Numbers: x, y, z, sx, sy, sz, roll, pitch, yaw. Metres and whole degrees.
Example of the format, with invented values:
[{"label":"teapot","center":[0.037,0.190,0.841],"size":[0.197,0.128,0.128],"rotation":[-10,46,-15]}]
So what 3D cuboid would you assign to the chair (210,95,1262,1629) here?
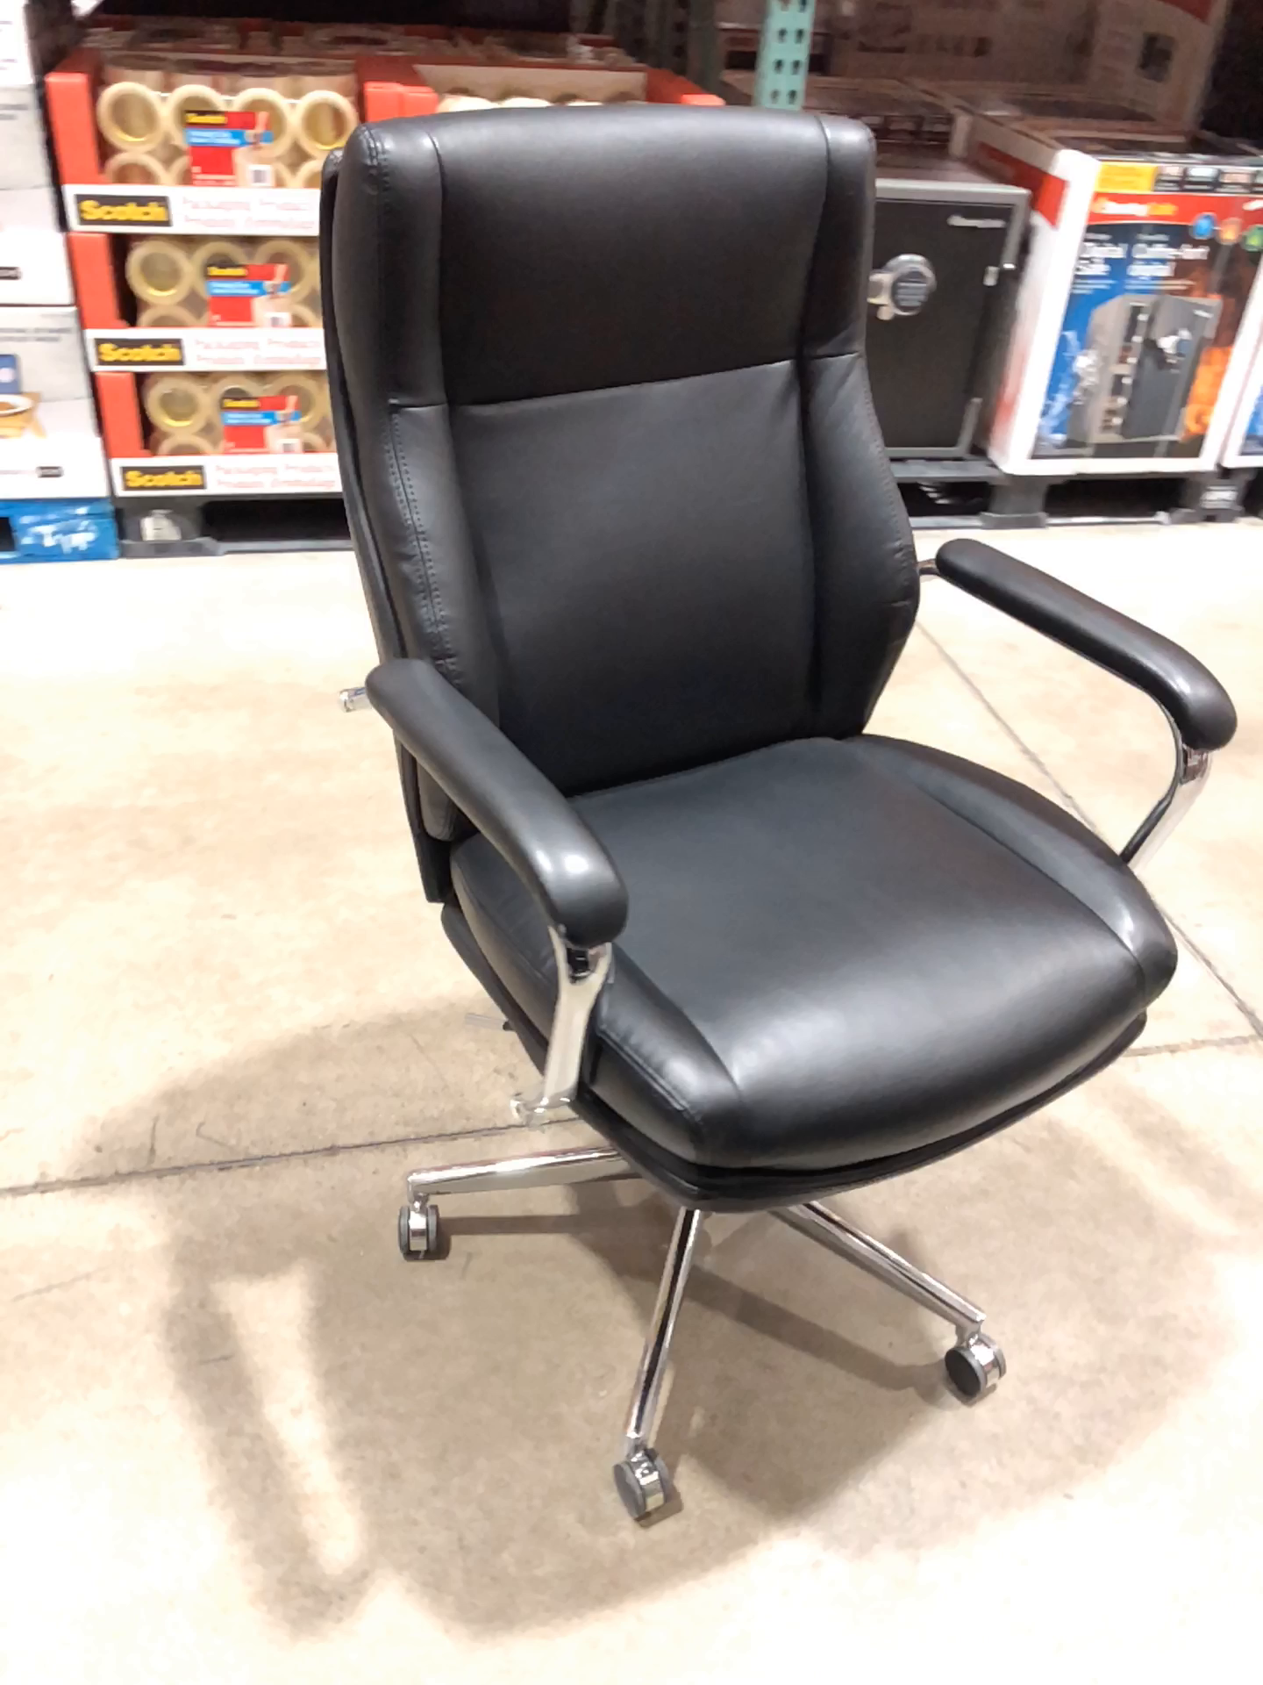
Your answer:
[{"label":"chair","center":[0.119,-0.036,1.259],"size":[0.710,1.046,0.703],"rotation":[-14,39,-24]}]
